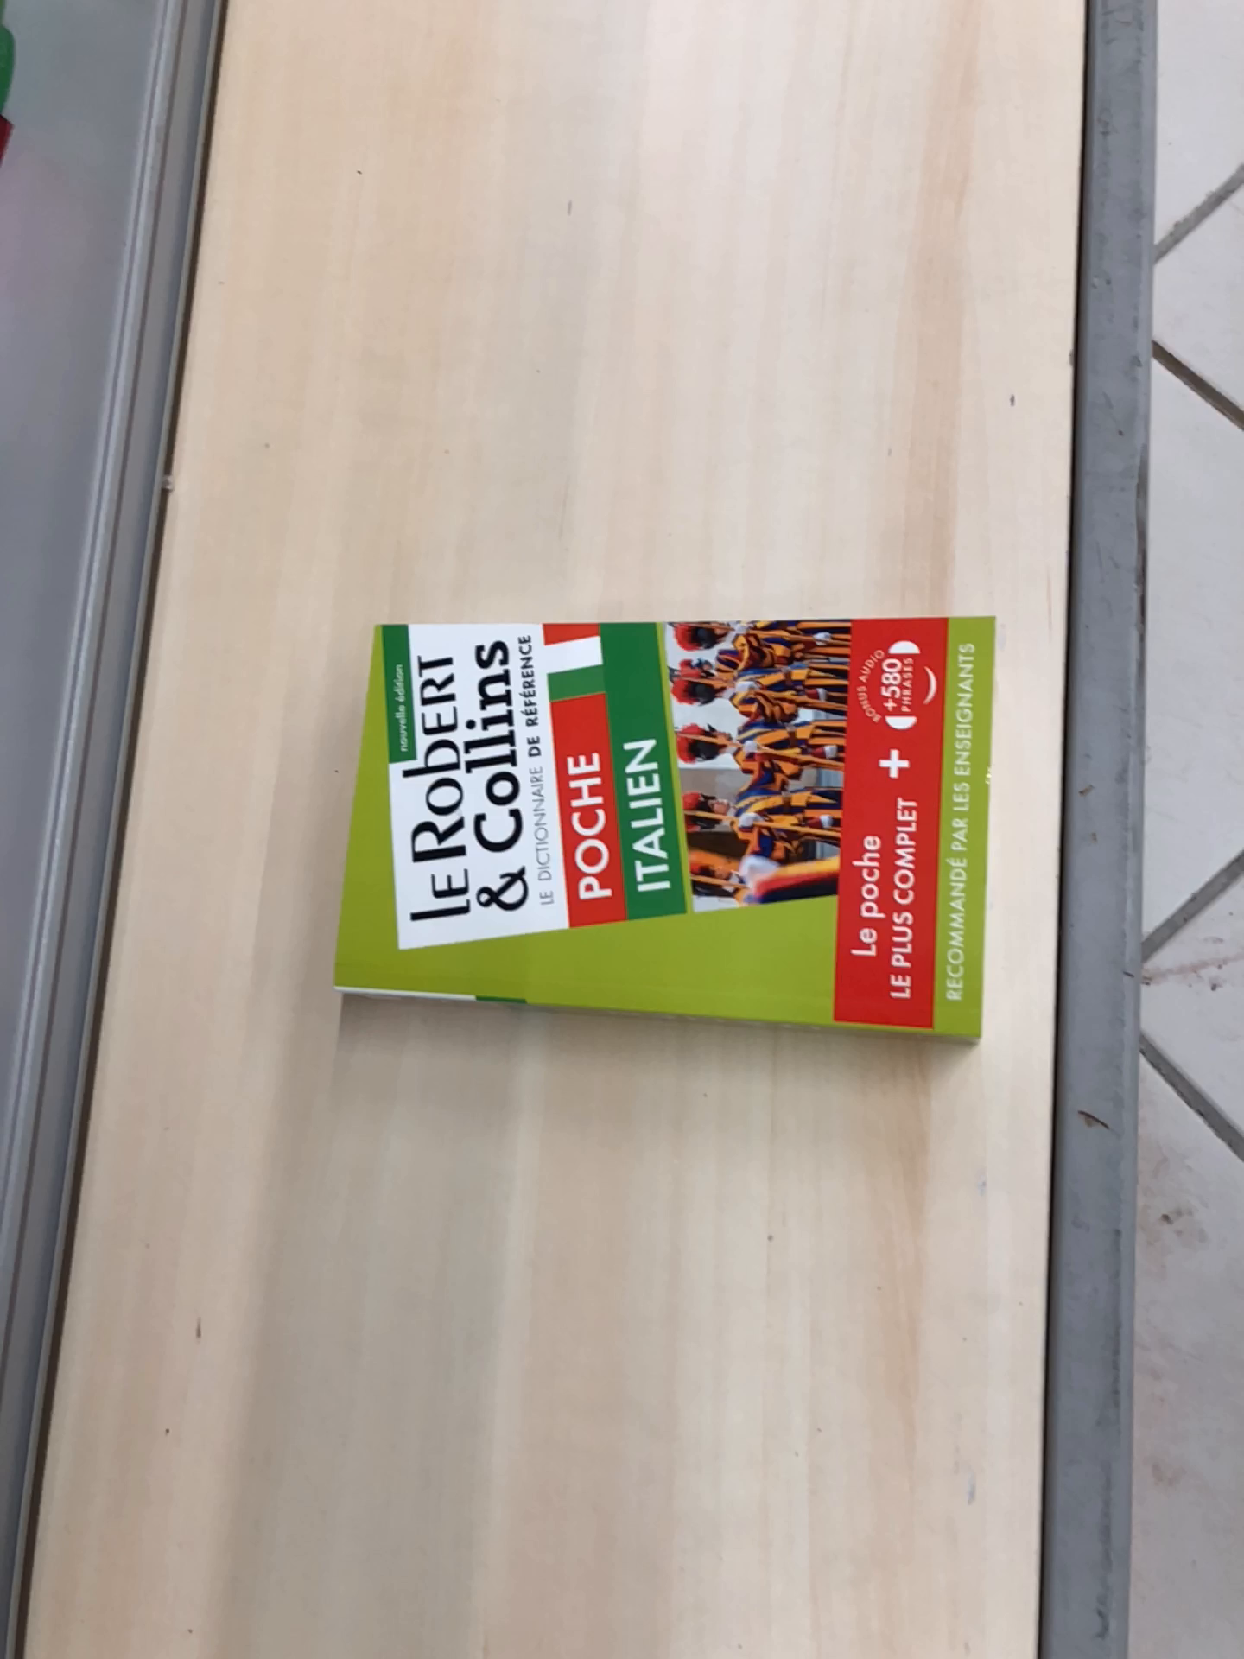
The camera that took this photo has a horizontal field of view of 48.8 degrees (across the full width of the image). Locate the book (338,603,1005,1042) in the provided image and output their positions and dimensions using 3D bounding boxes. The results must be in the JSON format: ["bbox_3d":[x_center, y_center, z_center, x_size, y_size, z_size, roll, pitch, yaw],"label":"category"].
[{"bbox_3d":[0.015,-0.002,0.383,0.175,0.040,0.110,1,78,14],"label":"book"}]
